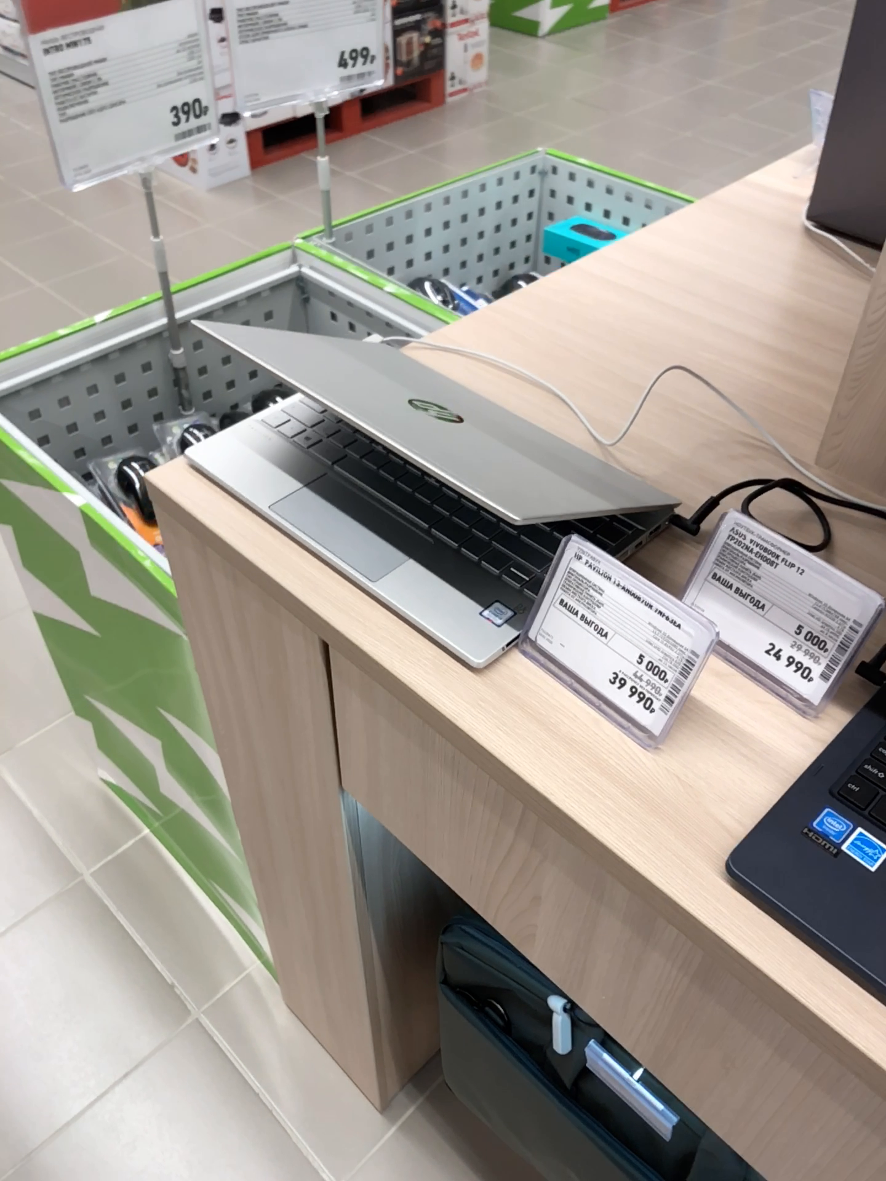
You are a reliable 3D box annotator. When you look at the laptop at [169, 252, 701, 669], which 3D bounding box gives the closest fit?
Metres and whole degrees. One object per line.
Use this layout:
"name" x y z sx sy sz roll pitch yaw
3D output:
"laptop" -0.015 -0.117 0.711 0.206 0.095 0.323 -35 53 -30
